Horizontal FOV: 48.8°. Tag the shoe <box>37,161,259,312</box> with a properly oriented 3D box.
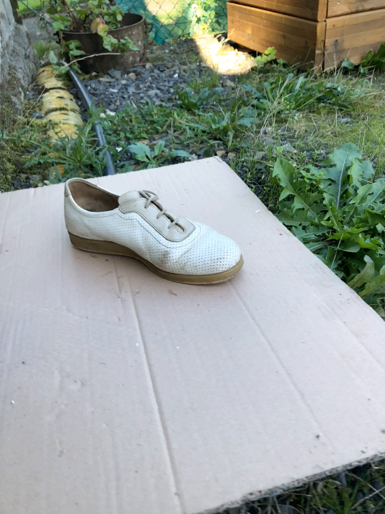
[{"bbox_3d":[-0.056,-0.036,0.524,0.260,0.089,0.091,18,45,28],"label":"shoe"}]
